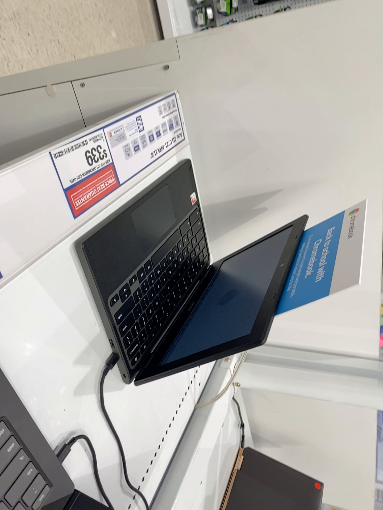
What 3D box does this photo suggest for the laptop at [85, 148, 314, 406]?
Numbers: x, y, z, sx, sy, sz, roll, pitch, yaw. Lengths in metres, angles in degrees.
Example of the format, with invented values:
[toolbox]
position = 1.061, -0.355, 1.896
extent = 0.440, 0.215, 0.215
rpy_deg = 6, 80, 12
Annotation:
[laptop]
position = 0.046, 0.005, 0.534
extent = 0.290, 0.181, 0.201
rpy_deg = -53, 137, -51
